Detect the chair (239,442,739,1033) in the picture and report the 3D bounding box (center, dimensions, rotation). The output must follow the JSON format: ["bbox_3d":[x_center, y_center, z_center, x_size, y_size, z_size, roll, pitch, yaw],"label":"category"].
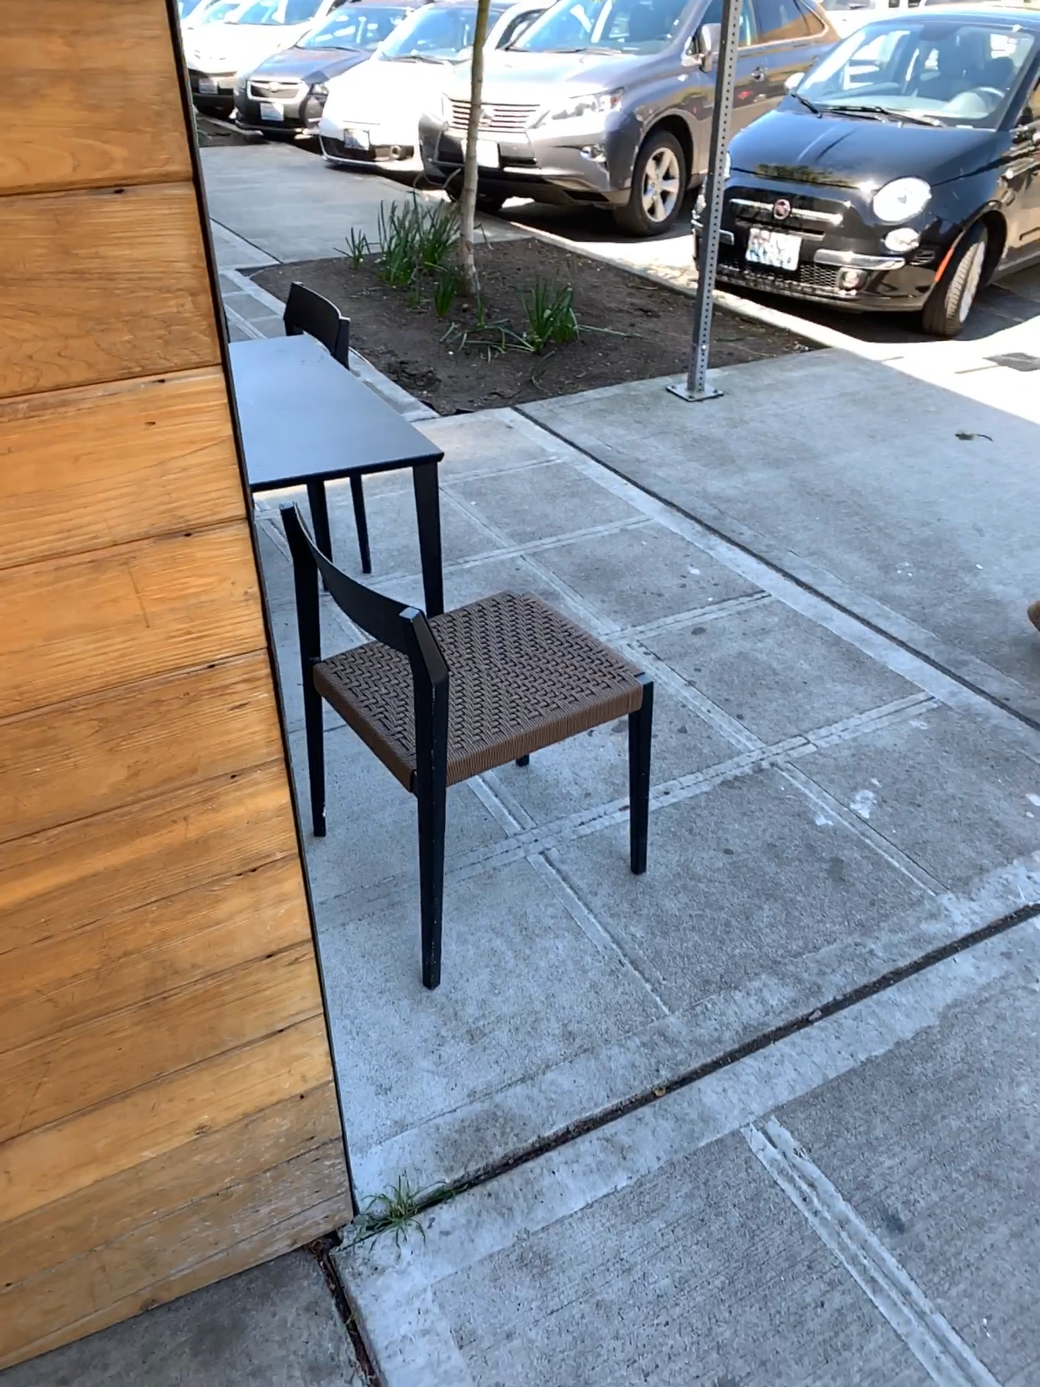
[{"bbox_3d":[-0.069,0.044,1.796,0.550,0.666,0.553,-19,41,-25],"label":"chair"}]
